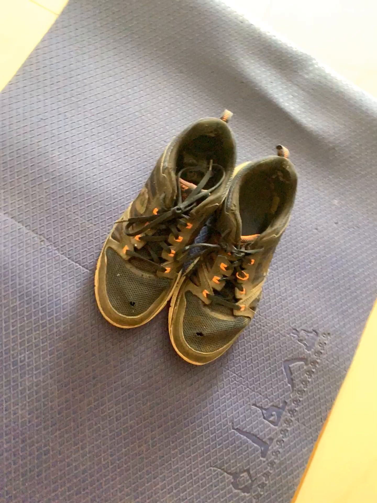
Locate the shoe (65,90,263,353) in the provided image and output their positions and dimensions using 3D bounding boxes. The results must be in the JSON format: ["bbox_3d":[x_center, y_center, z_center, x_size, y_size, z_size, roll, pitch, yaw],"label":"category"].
[{"bbox_3d":[-0.032,-0.040,0.521,0.100,0.100,0.320,31,78,-10],"label":"shoe"}]

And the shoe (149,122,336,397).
[{"bbox_3d":[0.067,0.008,0.506,0.110,0.100,0.310,25,79,-4],"label":"shoe"}]
